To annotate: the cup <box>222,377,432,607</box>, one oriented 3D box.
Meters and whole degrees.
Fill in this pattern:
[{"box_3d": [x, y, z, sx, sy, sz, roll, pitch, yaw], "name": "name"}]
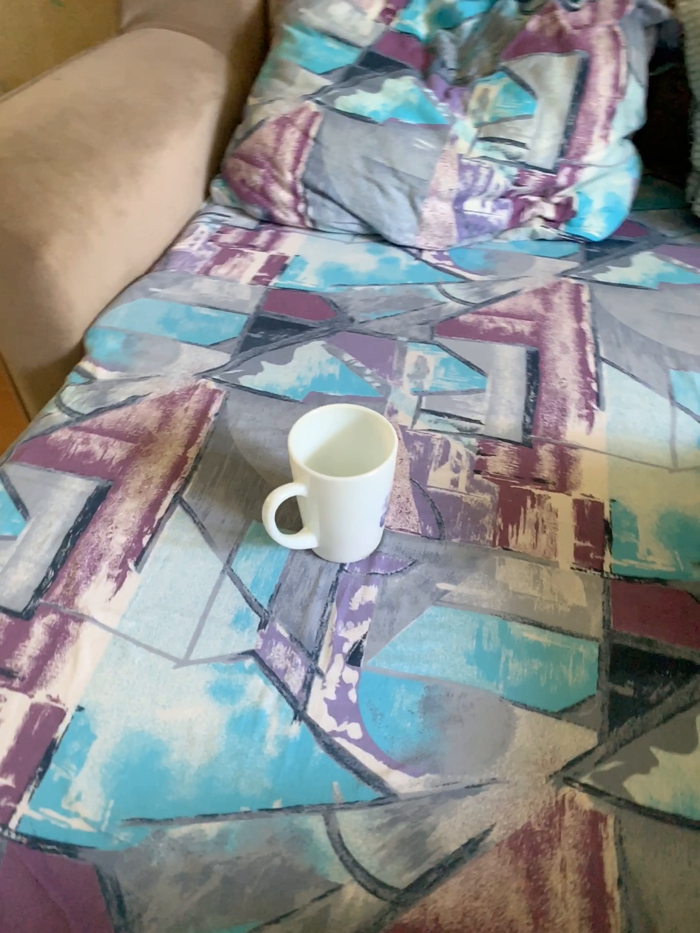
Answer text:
[{"box_3d": [-0.014, 0.016, 0.523, 0.120, 0.099, 0.080, -29, 49, -26], "name": "cup"}]
